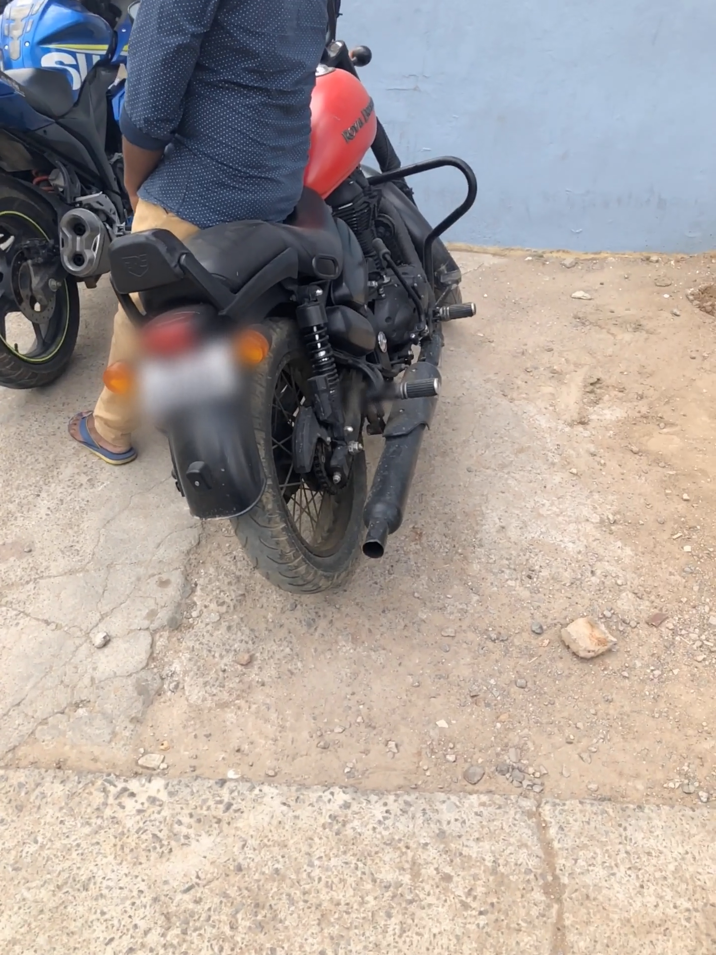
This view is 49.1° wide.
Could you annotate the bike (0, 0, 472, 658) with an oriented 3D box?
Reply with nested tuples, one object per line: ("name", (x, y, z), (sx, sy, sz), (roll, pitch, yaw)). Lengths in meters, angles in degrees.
("bike", (-0.244, -0.723, 1.860), (0.776, 1.245, 1.549), (8, 42, 3))
